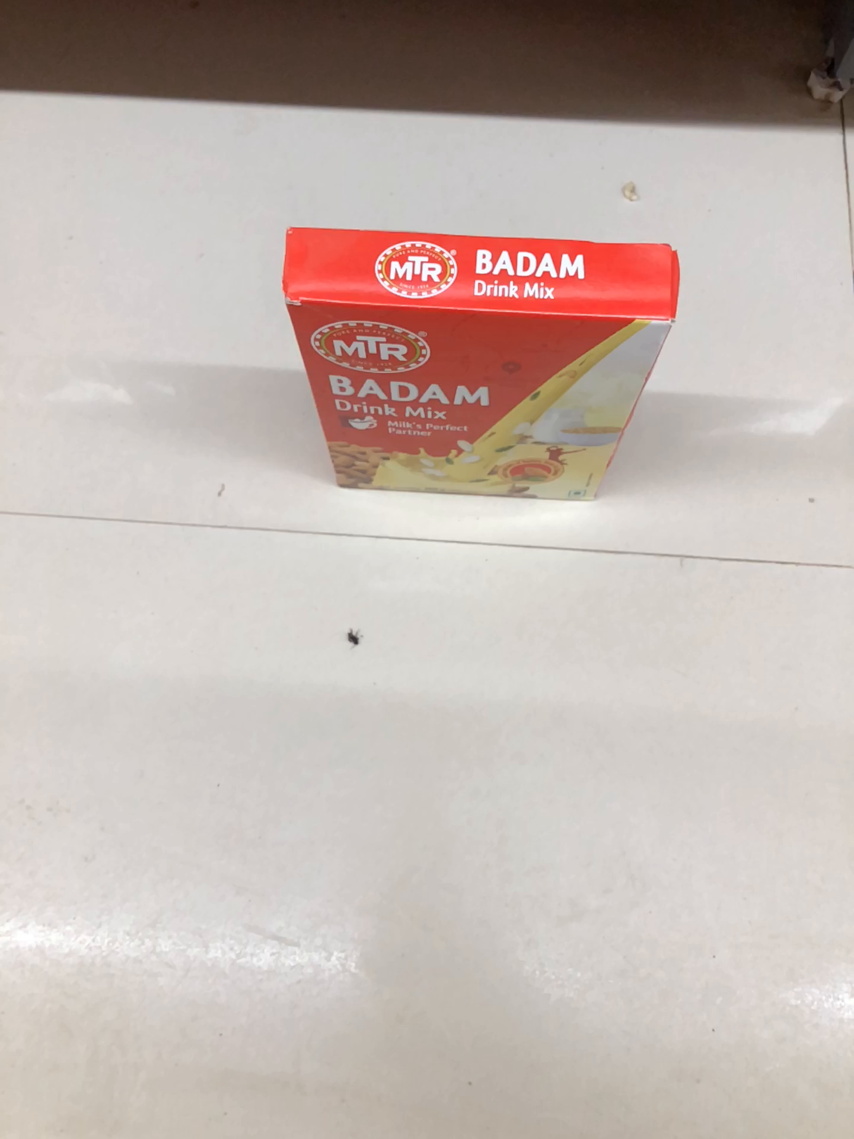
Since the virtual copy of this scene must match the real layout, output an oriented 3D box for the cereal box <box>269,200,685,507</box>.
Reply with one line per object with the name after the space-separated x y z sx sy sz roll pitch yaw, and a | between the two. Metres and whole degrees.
0.018 -0.075 0.379 0.130 0.160 0.040 2 73 2 | cereal box
